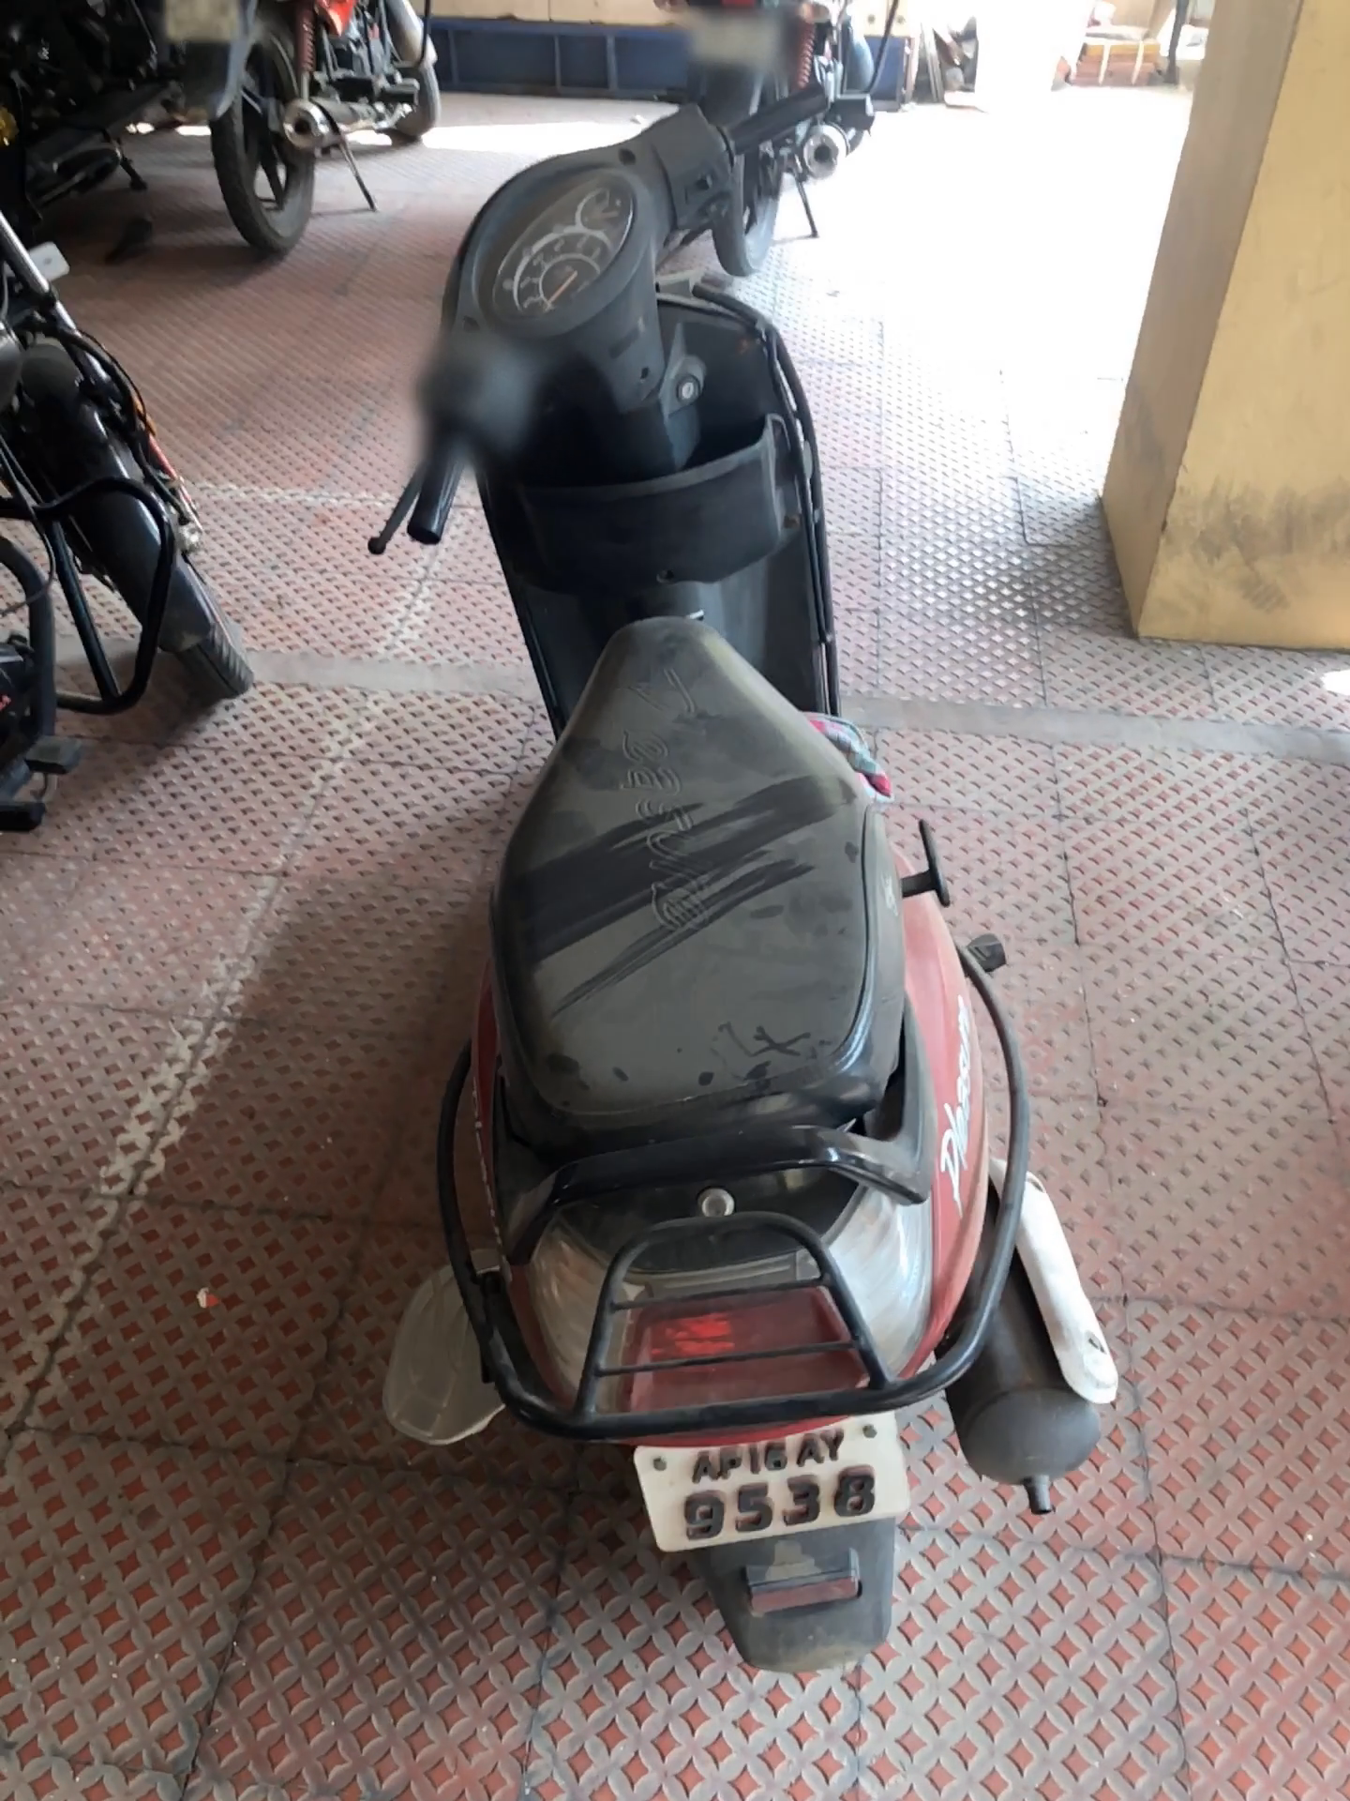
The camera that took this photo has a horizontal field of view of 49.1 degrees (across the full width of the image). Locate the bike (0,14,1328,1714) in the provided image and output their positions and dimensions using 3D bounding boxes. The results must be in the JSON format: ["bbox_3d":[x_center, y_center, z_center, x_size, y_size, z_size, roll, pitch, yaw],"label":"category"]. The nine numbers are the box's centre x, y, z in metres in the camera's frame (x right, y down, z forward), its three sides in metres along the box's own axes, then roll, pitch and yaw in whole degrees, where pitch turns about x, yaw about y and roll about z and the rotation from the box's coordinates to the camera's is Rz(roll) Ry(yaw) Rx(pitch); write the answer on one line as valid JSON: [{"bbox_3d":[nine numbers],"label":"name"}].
[{"bbox_3d":[-0.139,-0.213,1.618,0.599,1.030,1.659,-5,42,-7],"label":"bike"}]
